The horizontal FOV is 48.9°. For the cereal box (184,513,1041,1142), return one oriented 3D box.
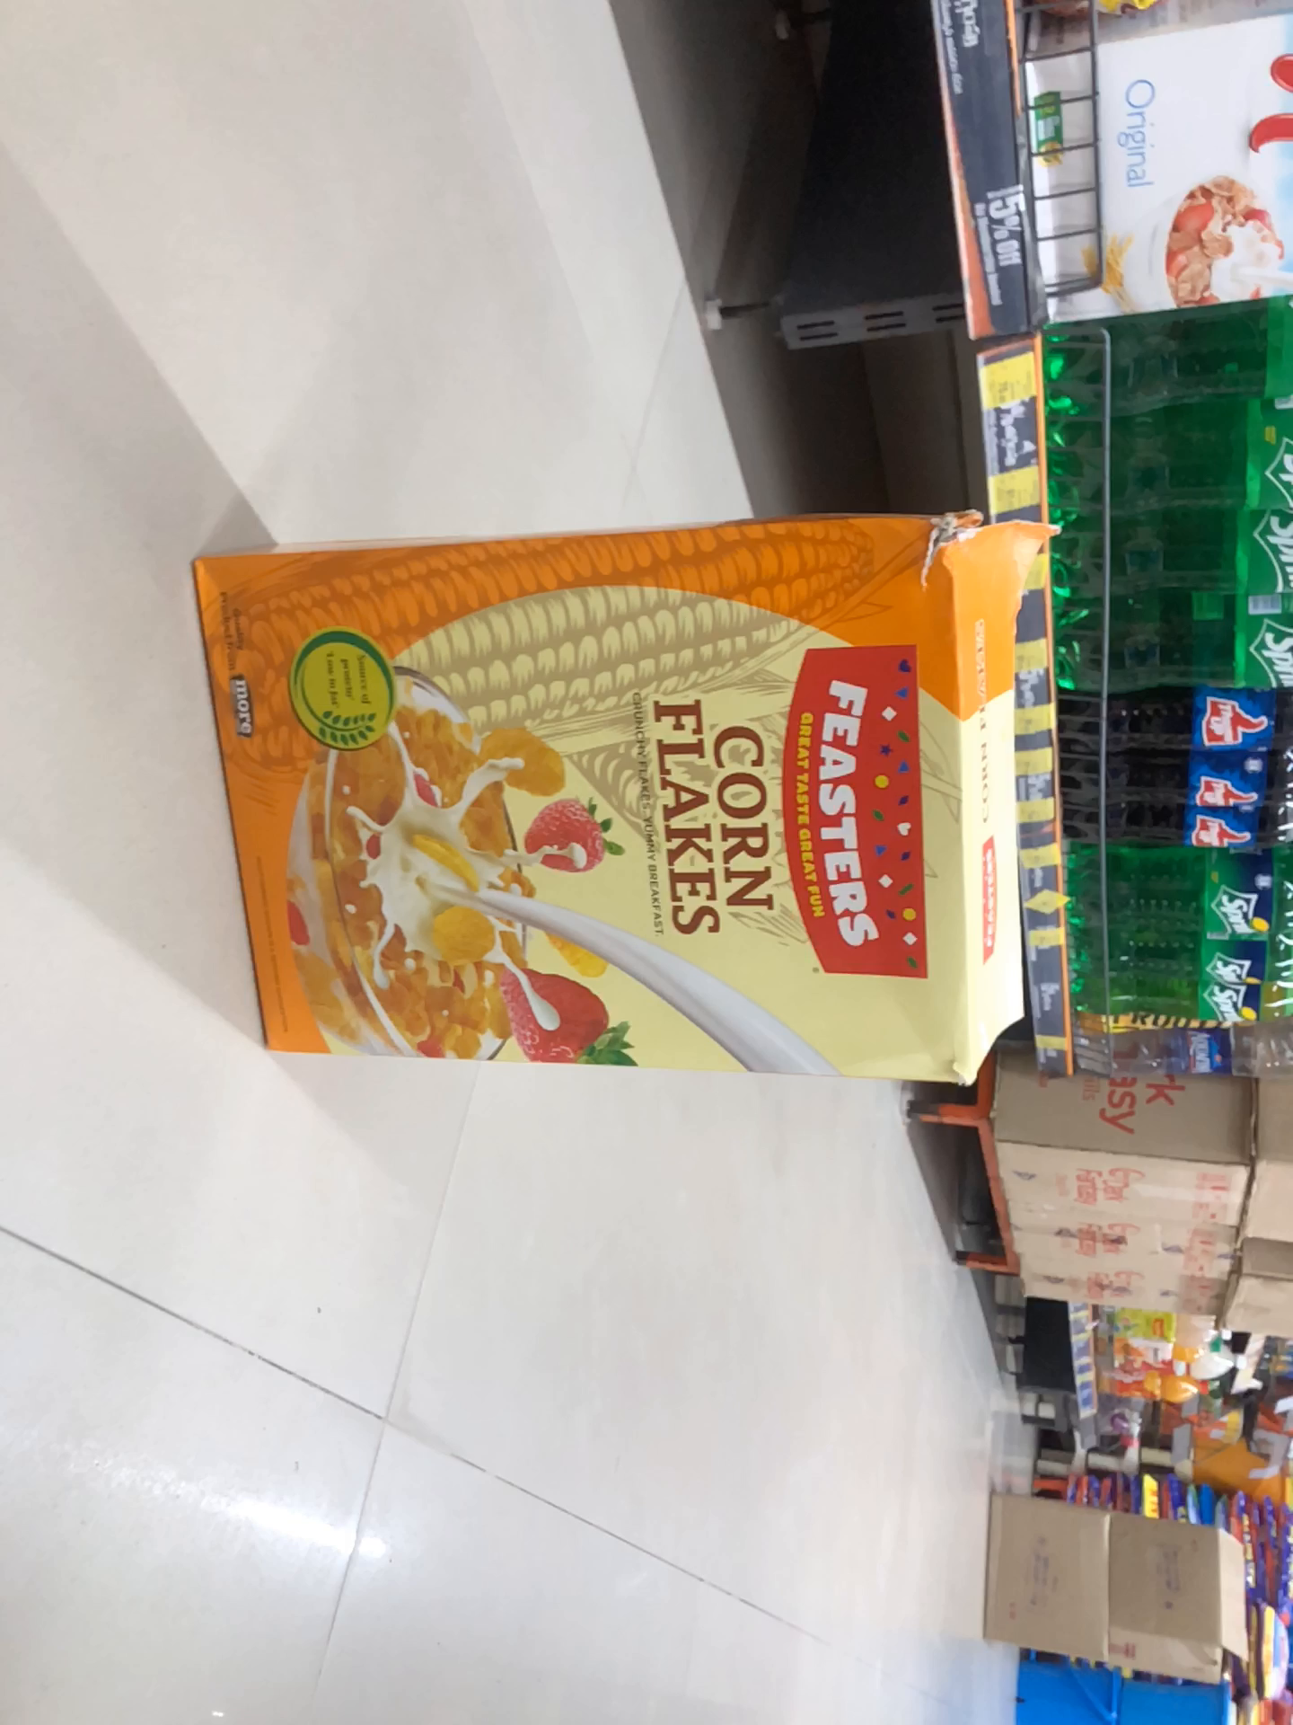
[{"bbox_3d":[-0.007,-0.010,0.484,0.060,0.269,0.190,-44,132,-69],"label":"cereal box"}]
